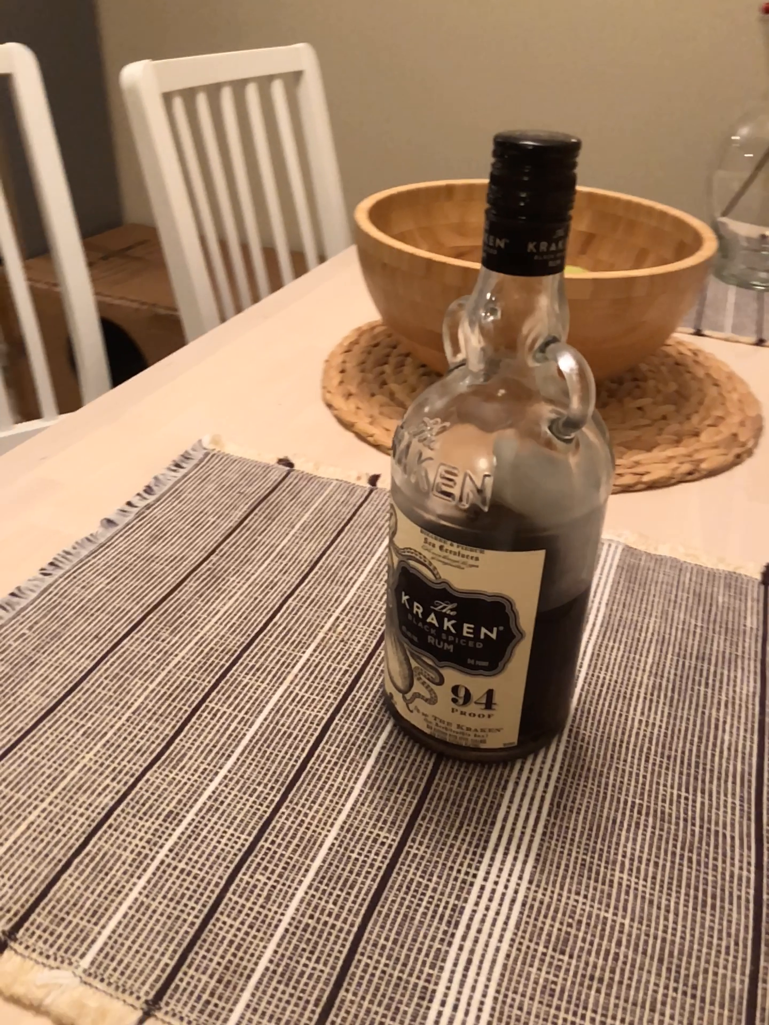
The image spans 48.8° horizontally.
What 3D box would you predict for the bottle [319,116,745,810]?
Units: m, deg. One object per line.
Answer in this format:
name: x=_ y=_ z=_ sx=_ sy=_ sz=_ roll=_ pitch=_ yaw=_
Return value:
bottle: x=0.042 y=-0.018 z=0.349 sx=0.100 sy=0.248 sz=0.100 roll=2 pitch=32 yaw=-1
